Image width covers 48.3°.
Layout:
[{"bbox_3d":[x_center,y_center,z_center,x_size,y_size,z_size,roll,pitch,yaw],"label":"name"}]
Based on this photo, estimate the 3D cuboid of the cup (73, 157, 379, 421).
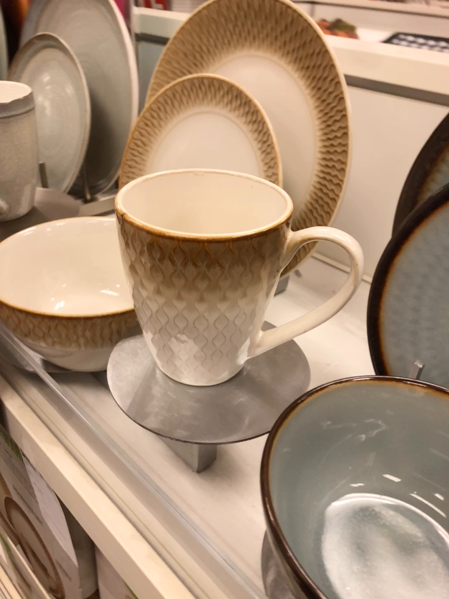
[{"bbox_3d":[0.003,-0.012,0.273,0.128,0.089,0.100,8,33,5],"label":"cup"}]
